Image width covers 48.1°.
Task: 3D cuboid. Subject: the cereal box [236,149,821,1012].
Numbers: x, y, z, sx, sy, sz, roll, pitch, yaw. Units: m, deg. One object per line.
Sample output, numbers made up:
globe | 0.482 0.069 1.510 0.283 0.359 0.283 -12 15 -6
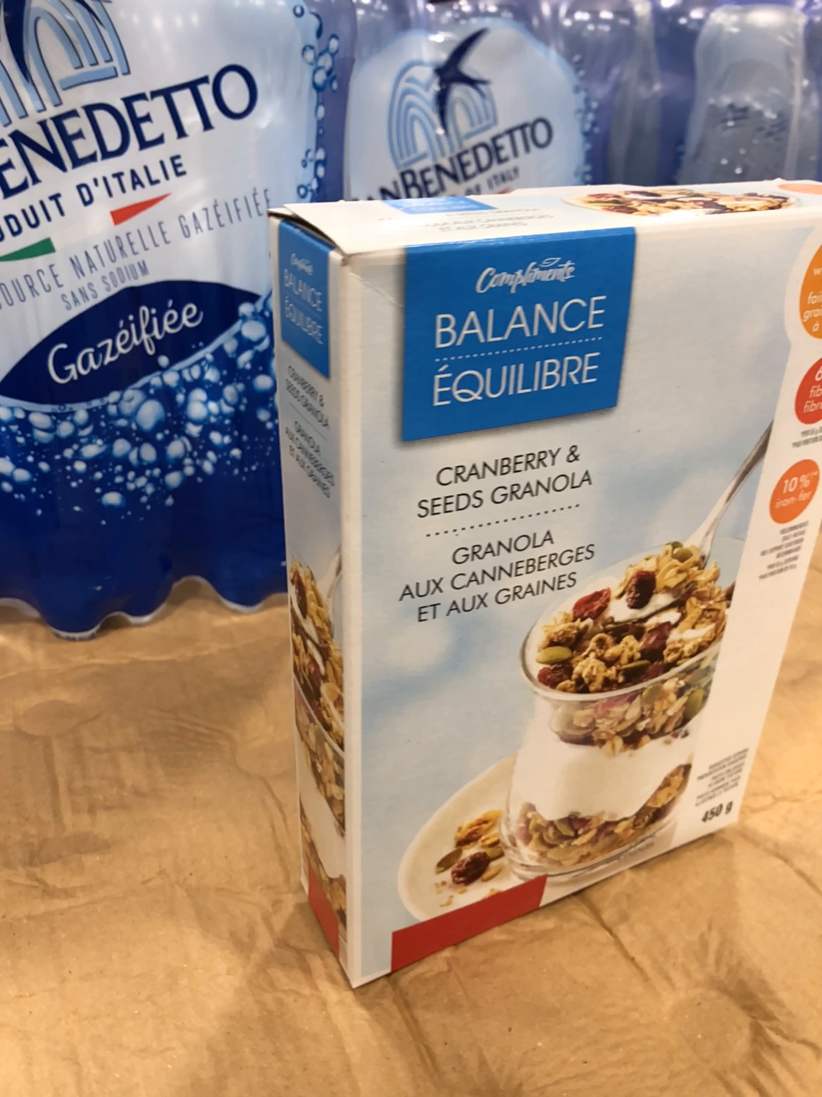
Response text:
cereal box | 0.052 0.011 0.276 0.180 0.229 0.050 -13 33 -22
